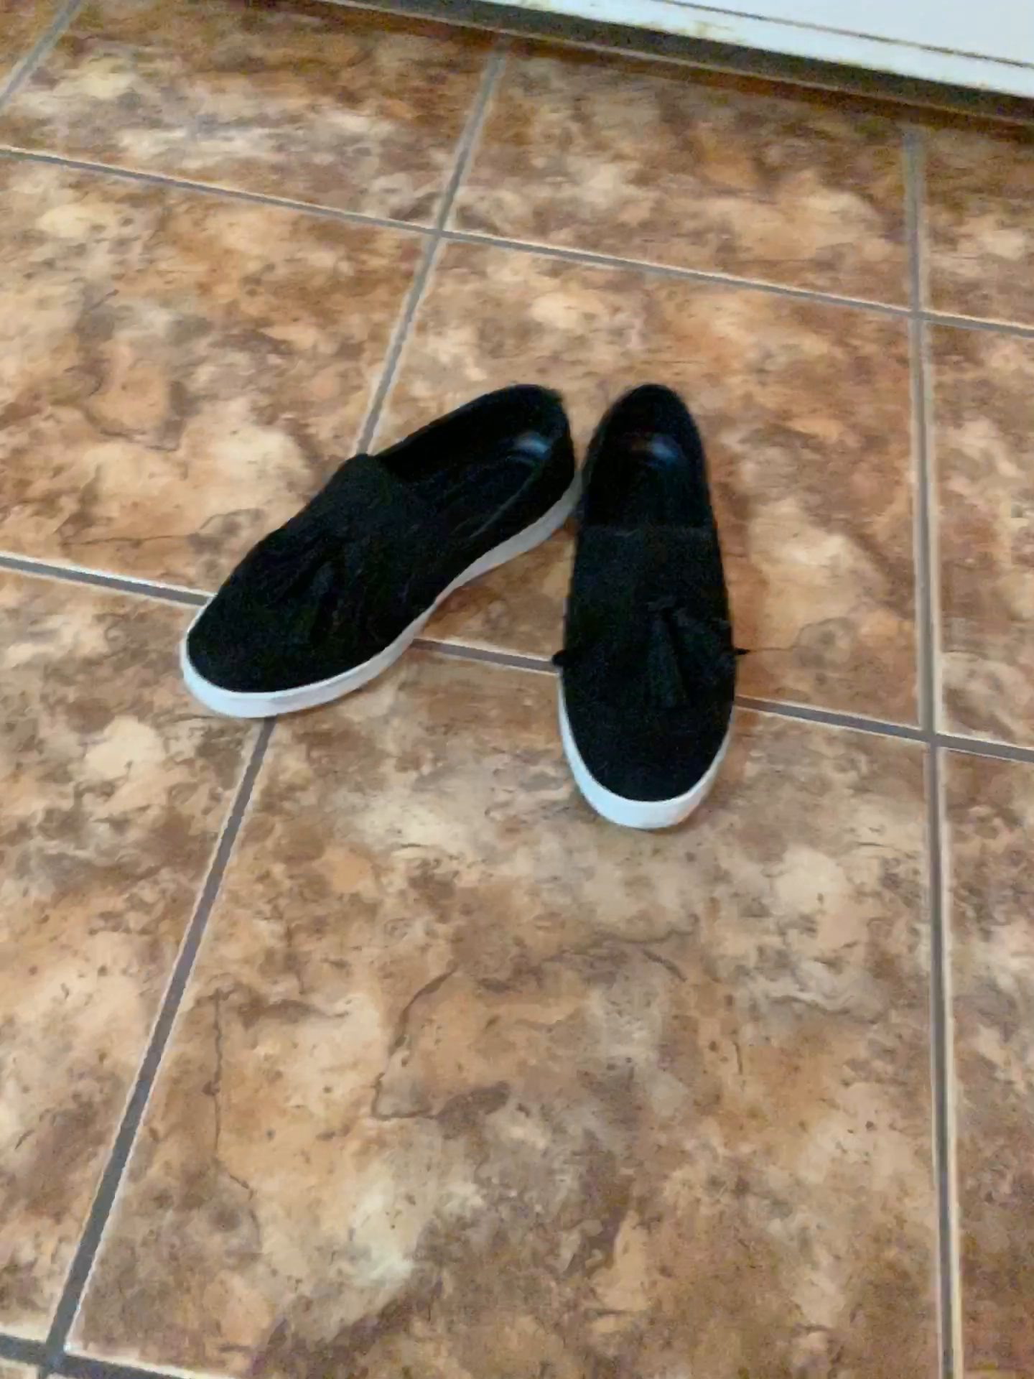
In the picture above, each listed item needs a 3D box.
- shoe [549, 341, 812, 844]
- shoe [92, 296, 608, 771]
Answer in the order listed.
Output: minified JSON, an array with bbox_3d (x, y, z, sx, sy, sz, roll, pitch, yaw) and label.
[{"bbox_3d":[0.072,-0.056,0.546,0.097,0.094,0.250,2,58,-4],"label":"shoe"},{"bbox_3d":[-0.075,-0.089,0.553,0.097,0.094,0.250,39,63,18],"label":"shoe"}]
